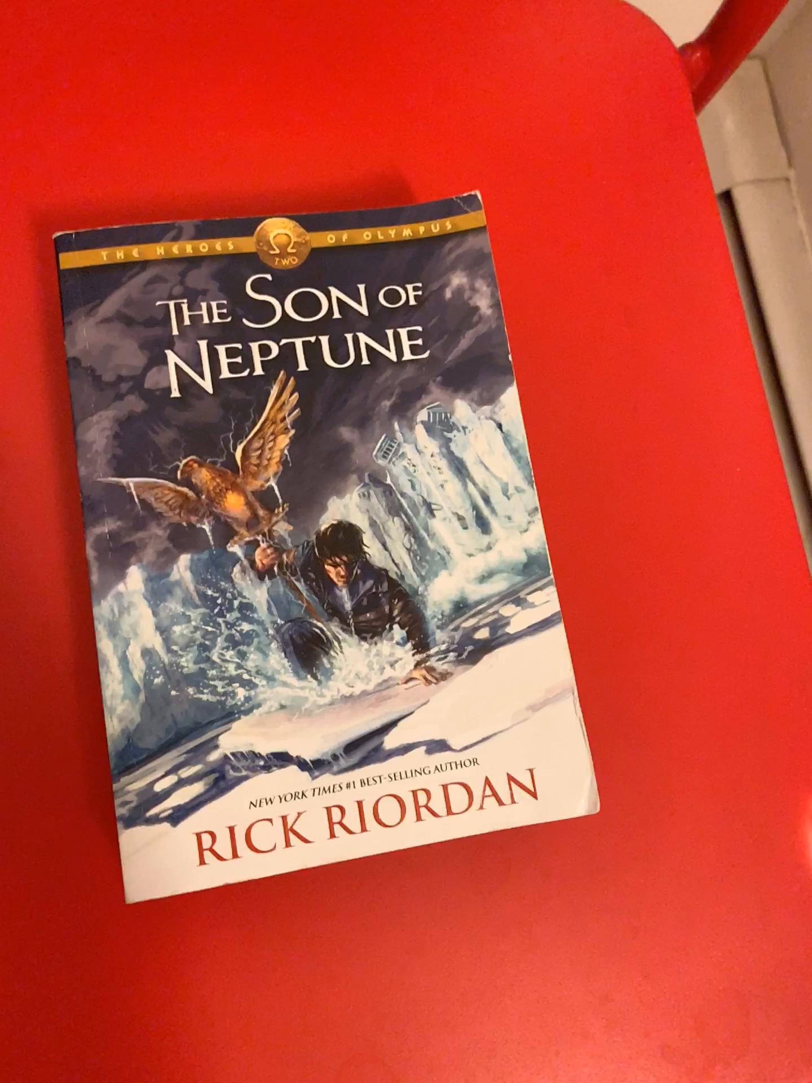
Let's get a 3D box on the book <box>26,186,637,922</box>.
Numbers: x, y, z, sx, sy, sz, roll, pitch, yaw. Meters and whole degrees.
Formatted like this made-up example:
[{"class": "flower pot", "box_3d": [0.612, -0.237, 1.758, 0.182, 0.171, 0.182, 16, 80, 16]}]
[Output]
[{"class": "book", "box_3d": [-0.024, -0.006, 0.252, 0.142, 0.040, 0.188, -7, 80, -12]}]
